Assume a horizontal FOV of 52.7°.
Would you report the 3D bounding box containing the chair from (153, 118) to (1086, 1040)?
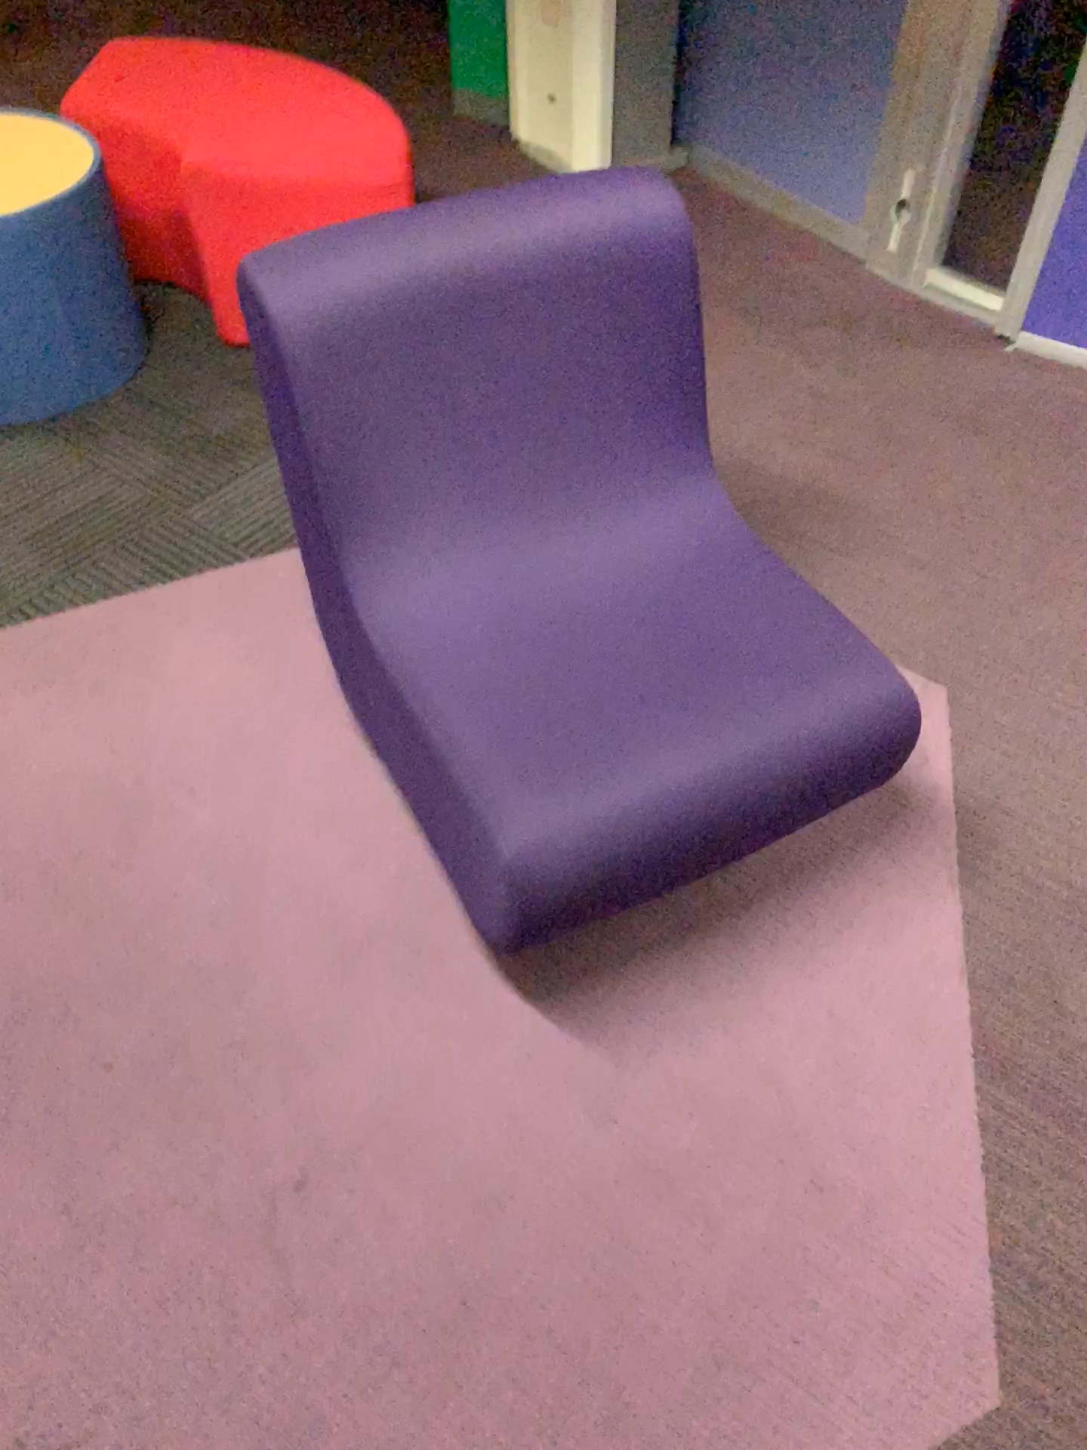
[{"bbox_3d":[0.084,-0.256,1.419,0.802,0.614,0.826,-22,50,-19],"label":"chair"}]
